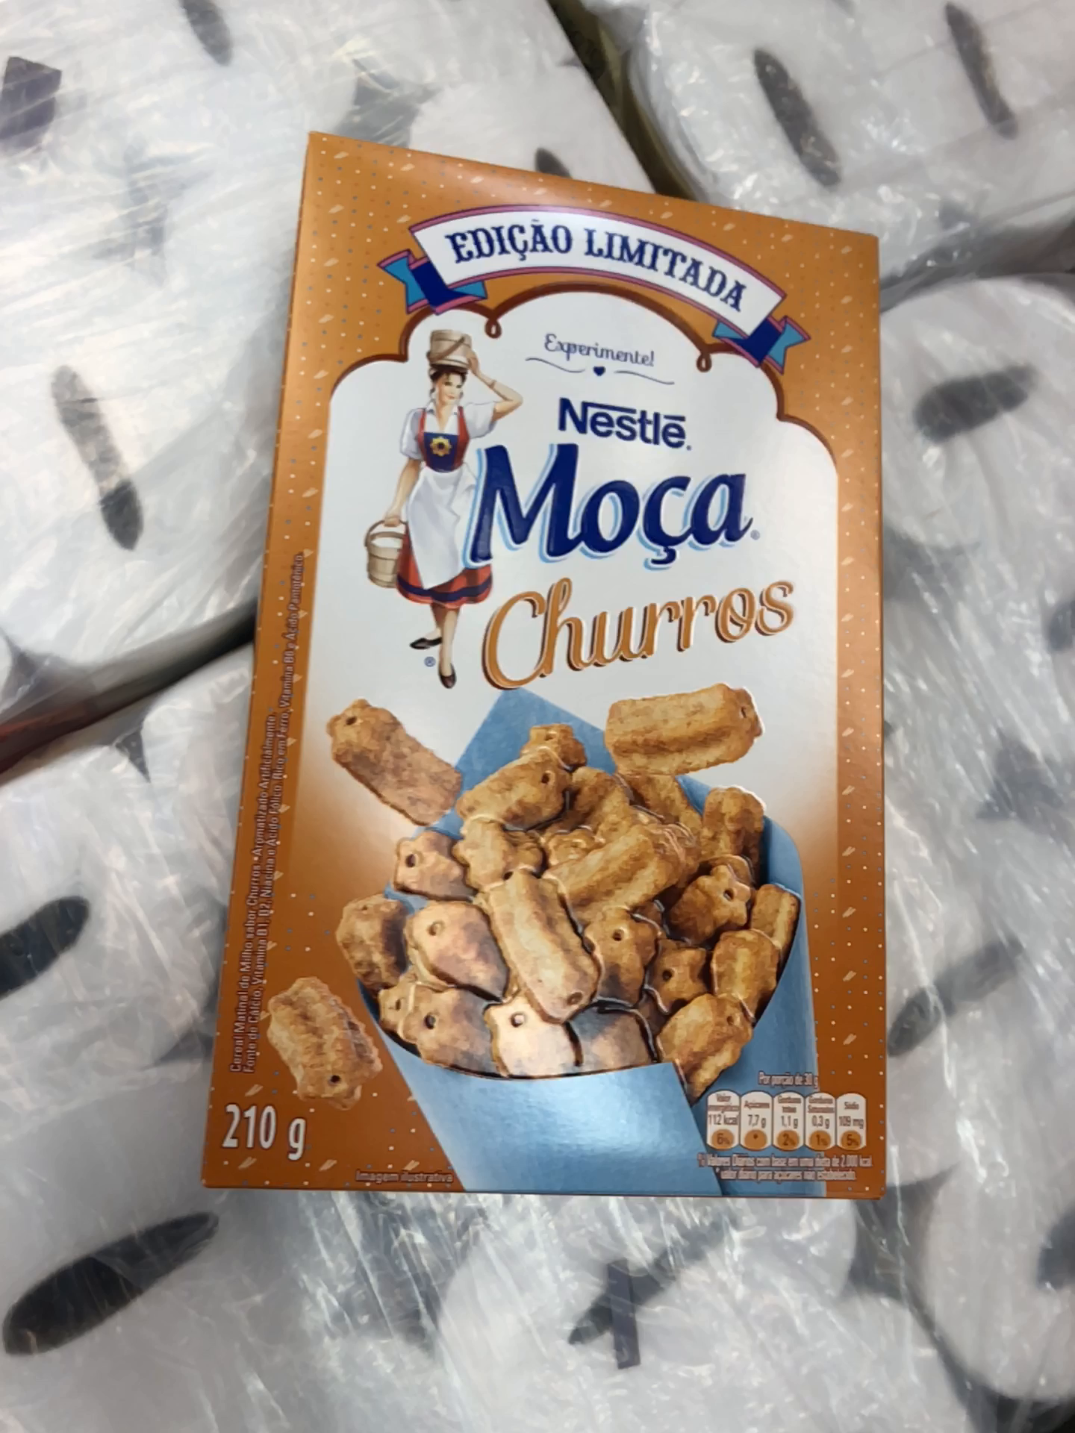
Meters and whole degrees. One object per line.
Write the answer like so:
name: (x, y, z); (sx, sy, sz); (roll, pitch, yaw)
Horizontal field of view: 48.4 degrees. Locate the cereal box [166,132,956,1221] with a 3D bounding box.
cereal box: (0.012, -0.008, 0.299); (0.170, 0.050, 0.240); (6, 78, -12)
